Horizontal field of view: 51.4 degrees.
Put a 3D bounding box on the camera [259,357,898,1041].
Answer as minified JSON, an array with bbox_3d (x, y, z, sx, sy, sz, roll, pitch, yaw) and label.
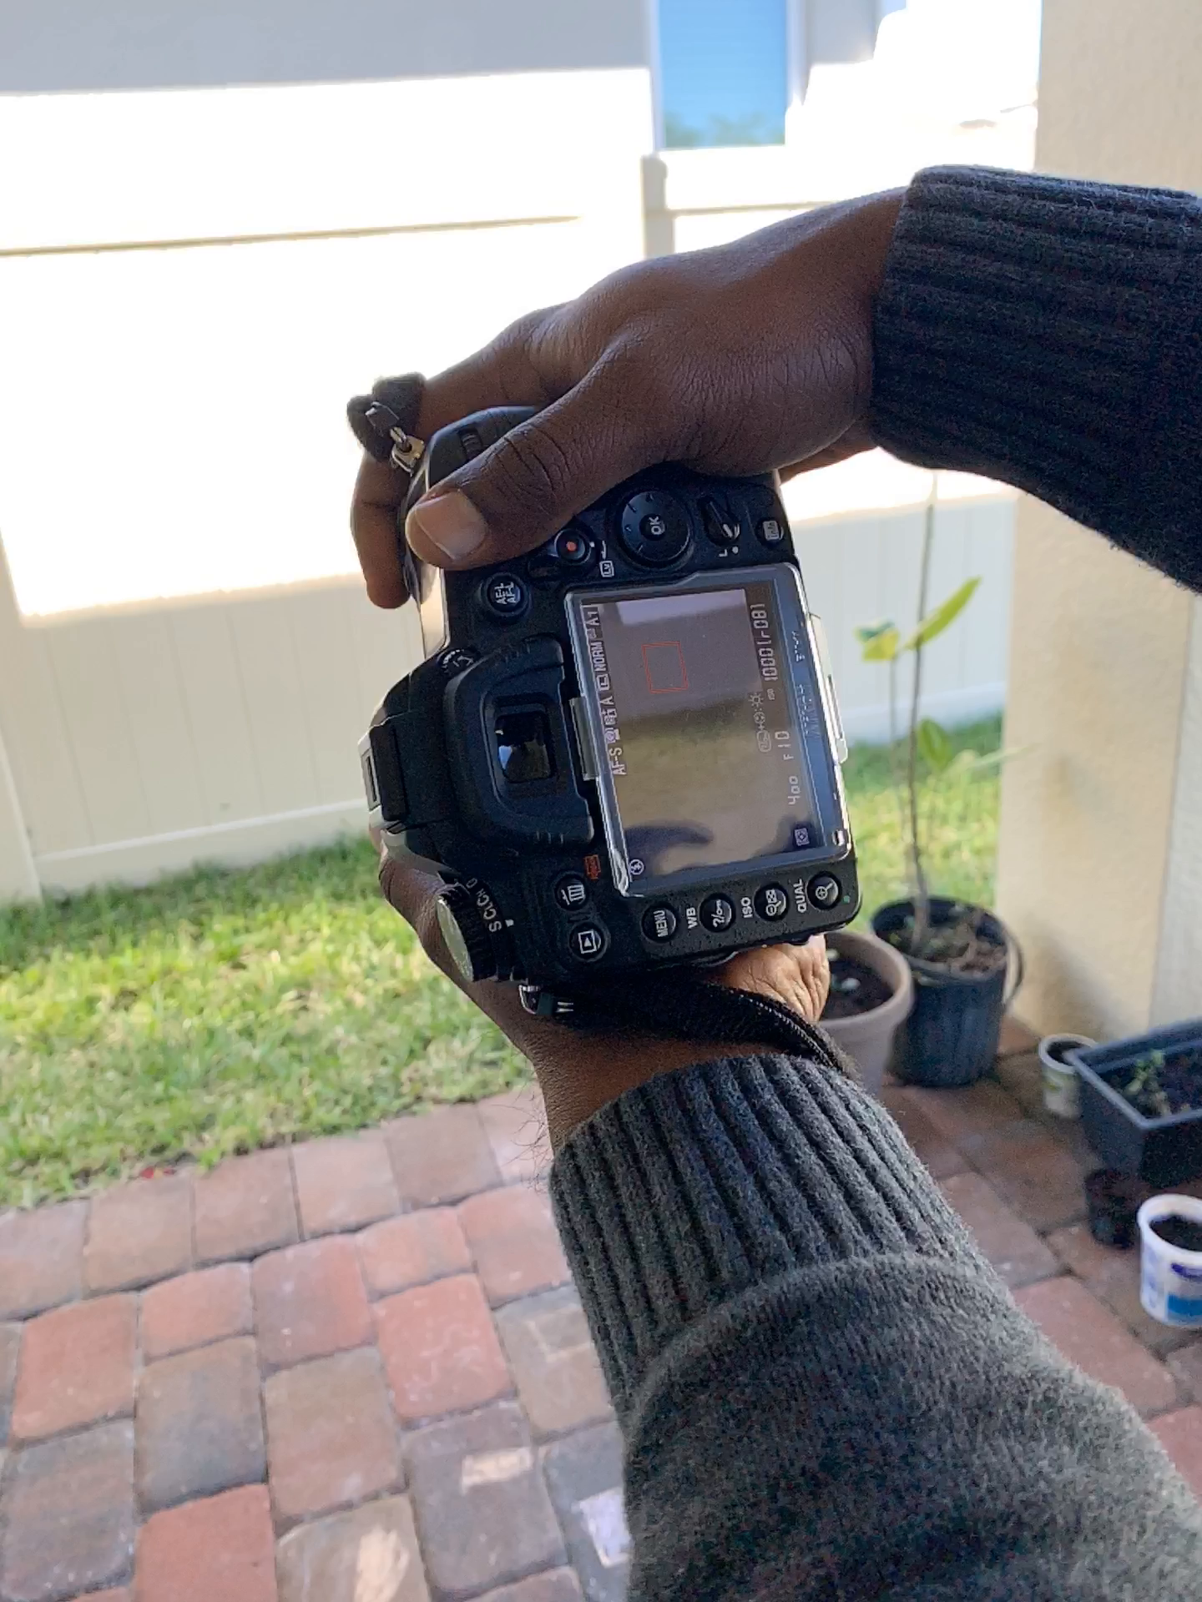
[{"bbox_3d":[-0.022,-0.019,0.304,0.090,0.110,0.170,-11,1,-18],"label":"camera"}]
